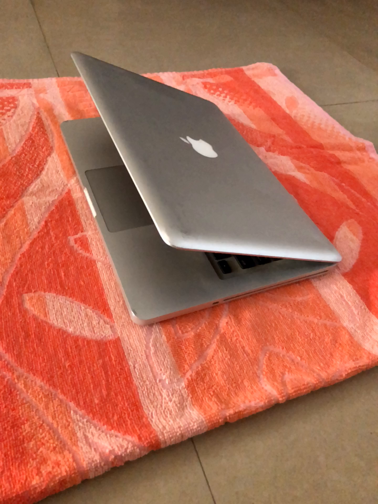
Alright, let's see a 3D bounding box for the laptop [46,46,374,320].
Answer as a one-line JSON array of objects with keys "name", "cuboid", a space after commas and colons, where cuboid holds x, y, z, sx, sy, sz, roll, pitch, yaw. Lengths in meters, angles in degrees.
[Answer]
[{"name": "laptop", "cuboid": [-0.003, -0.107, 0.451, 0.223, 0.086, 0.311, -13, 52, -21]}]
